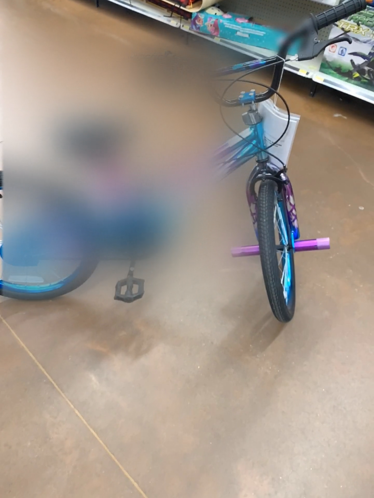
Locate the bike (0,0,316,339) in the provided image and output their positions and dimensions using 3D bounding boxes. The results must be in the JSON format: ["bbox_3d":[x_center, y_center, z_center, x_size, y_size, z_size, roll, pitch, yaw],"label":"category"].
[{"bbox_3d":[-0.288,-0.245,1.106,0.933,0.931,0.580,1,46,-4],"label":"bike"}]
